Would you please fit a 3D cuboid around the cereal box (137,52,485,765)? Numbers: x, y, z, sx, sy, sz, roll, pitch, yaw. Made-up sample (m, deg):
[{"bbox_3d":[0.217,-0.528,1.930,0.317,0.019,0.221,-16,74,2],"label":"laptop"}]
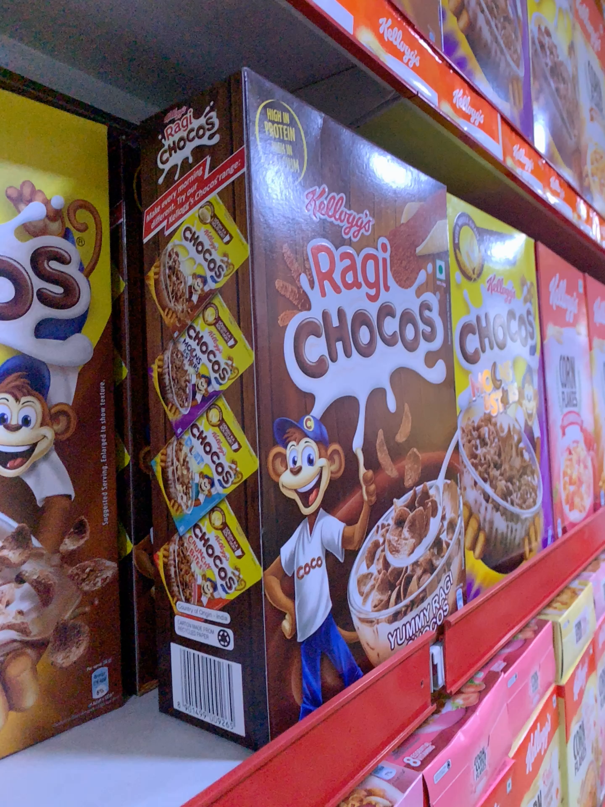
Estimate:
[{"bbox_3d":[0.018,-0.001,0.302,0.060,0.240,0.180,-3,-1,38],"label":"cereal box"}]
